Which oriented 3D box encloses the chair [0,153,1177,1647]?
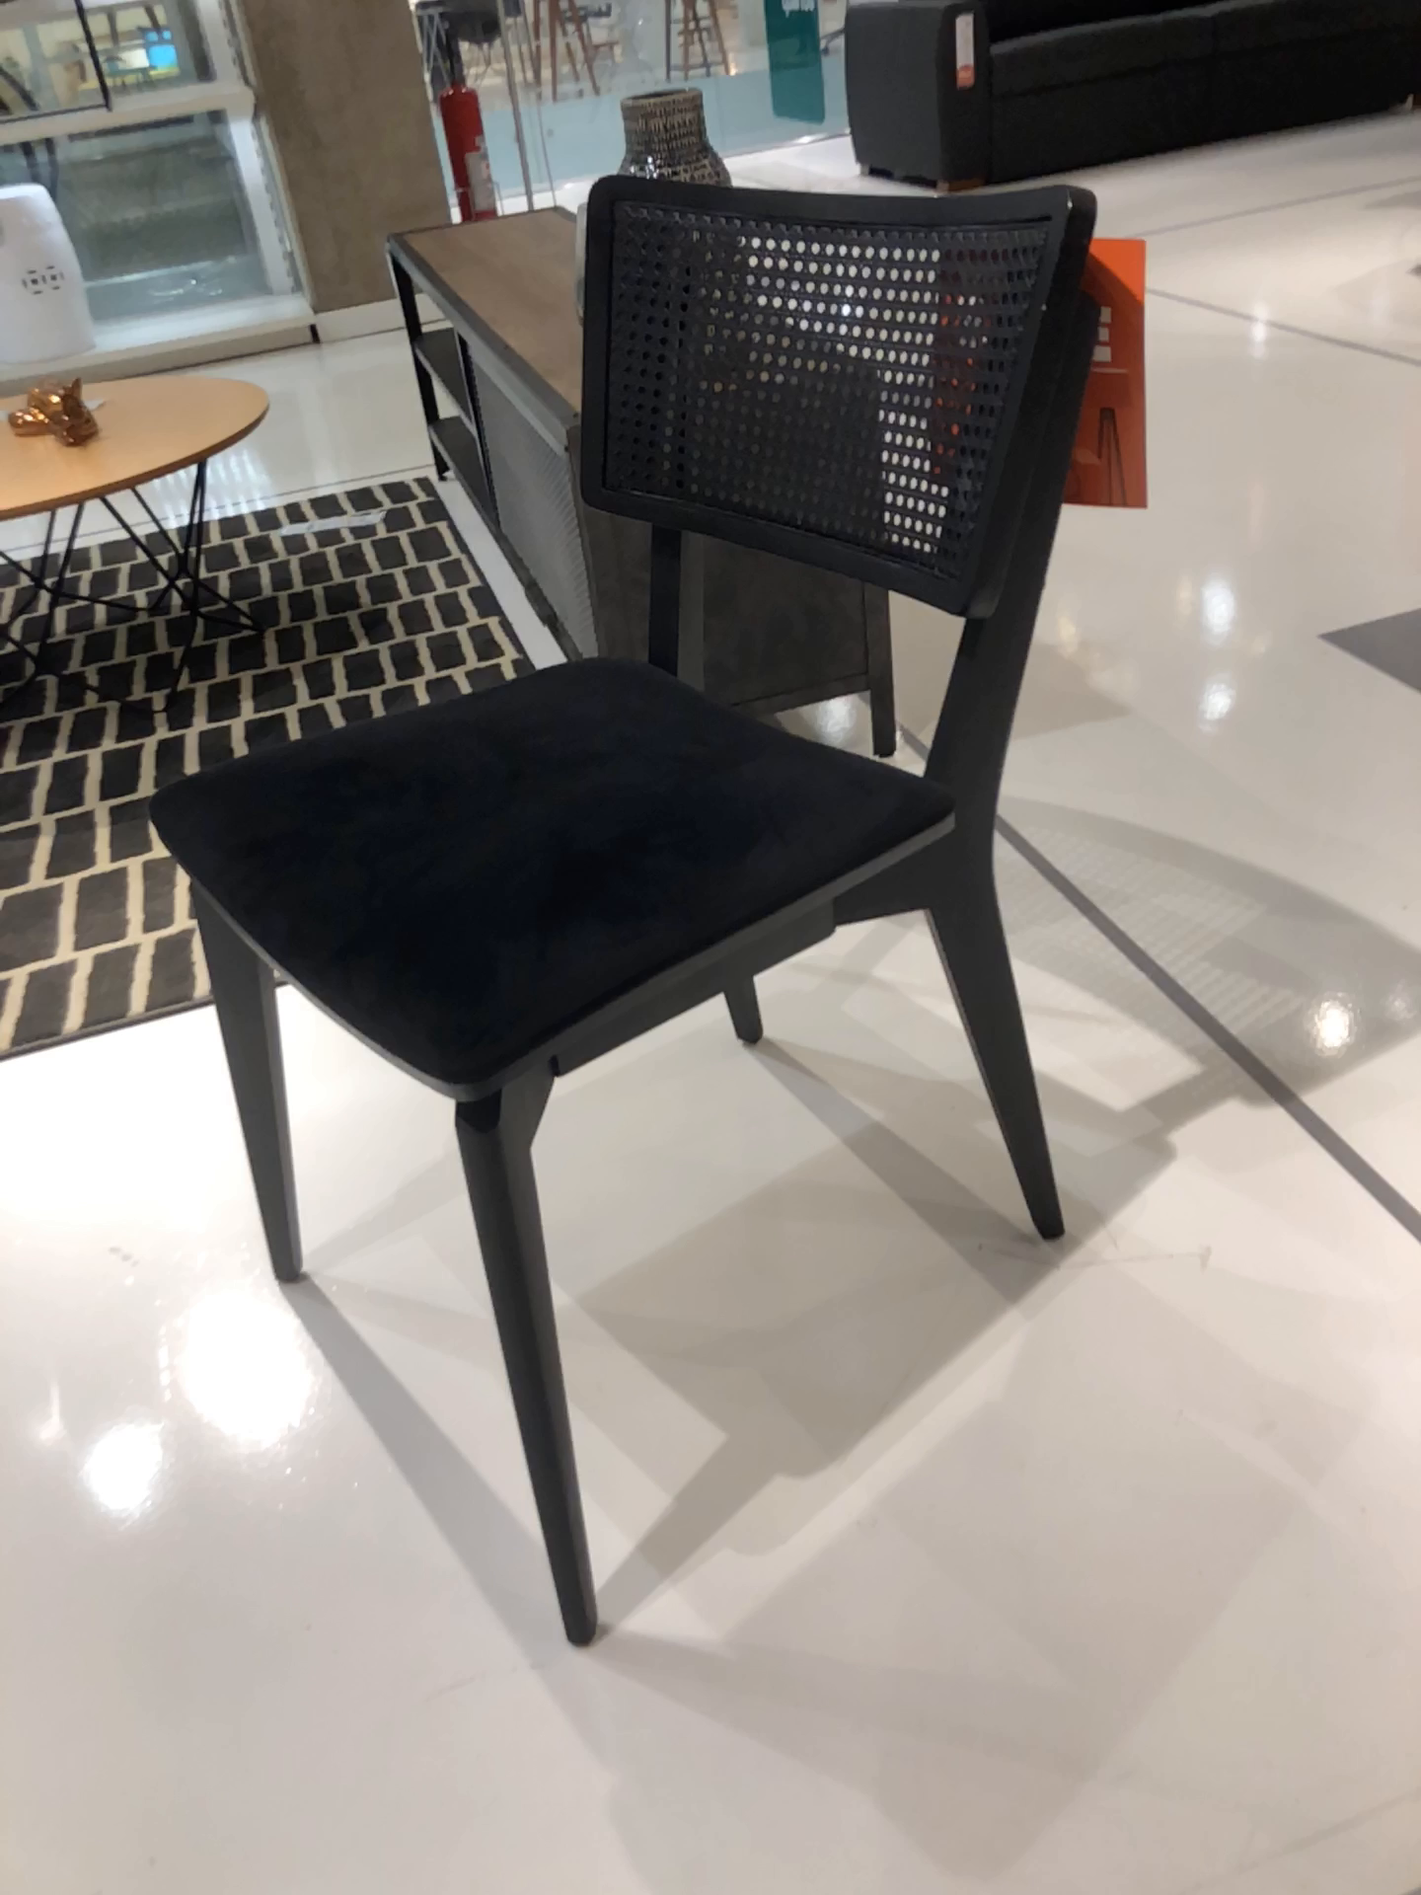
[{"bbox_3d":[-0.082,-0.090,1.082,0.551,0.744,0.533,-28,37,-28],"label":"chair"}]
